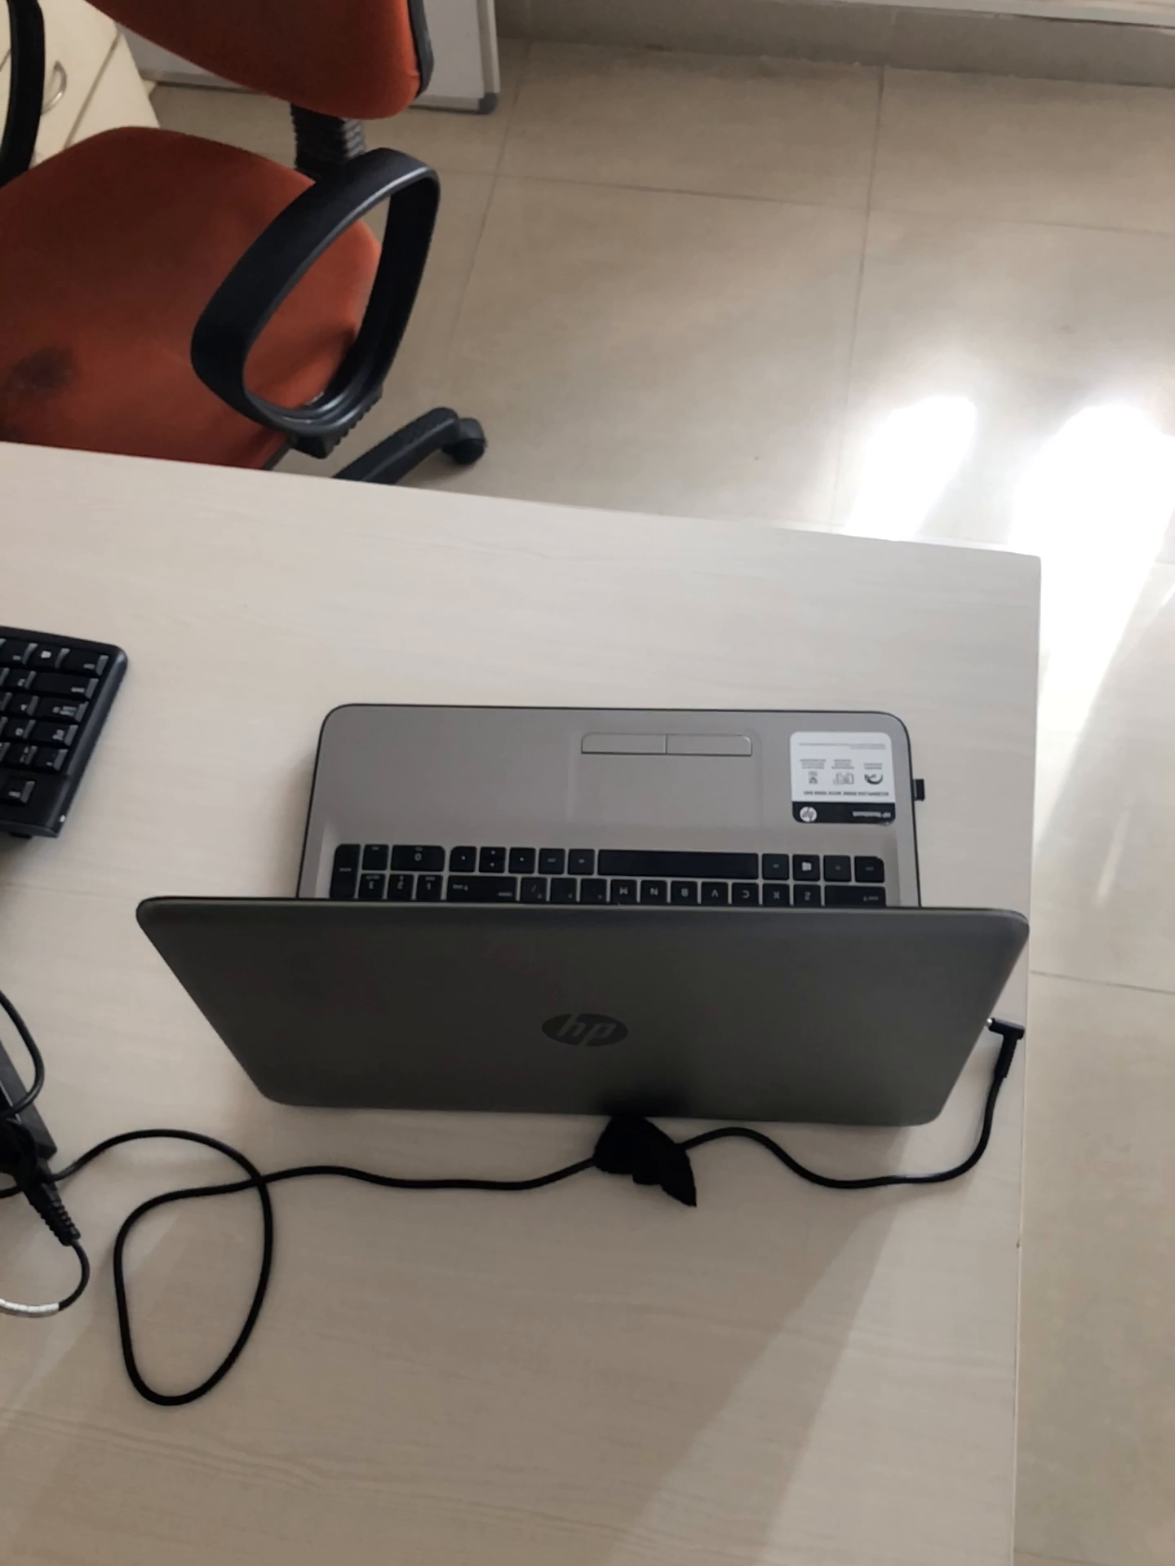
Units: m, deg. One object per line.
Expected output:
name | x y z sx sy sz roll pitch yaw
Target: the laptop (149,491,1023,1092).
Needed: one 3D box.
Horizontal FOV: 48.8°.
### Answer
laptop | 0.004 0.016 0.656 0.350 0.227 0.216 2 69 5
